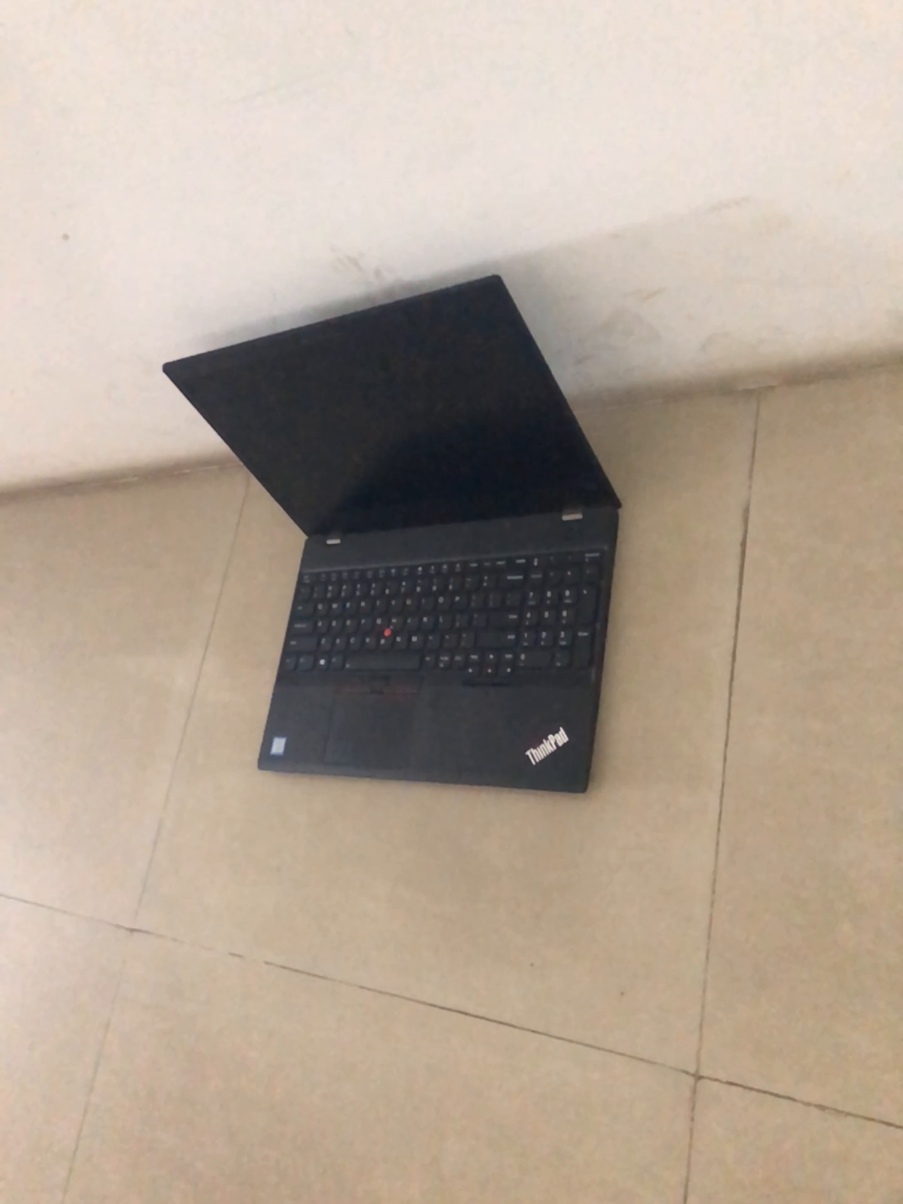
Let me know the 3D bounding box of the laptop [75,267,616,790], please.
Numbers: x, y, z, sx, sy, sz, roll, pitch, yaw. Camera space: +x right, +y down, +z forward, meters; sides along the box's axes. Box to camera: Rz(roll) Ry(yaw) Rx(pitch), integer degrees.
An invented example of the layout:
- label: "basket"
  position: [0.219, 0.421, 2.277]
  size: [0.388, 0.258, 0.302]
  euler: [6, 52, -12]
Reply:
- label: "laptop"
  position: [-0.082, -0.038, 0.838]
  size: [0.352, 0.215, 0.327]
  euler: [-3, 70, 34]
